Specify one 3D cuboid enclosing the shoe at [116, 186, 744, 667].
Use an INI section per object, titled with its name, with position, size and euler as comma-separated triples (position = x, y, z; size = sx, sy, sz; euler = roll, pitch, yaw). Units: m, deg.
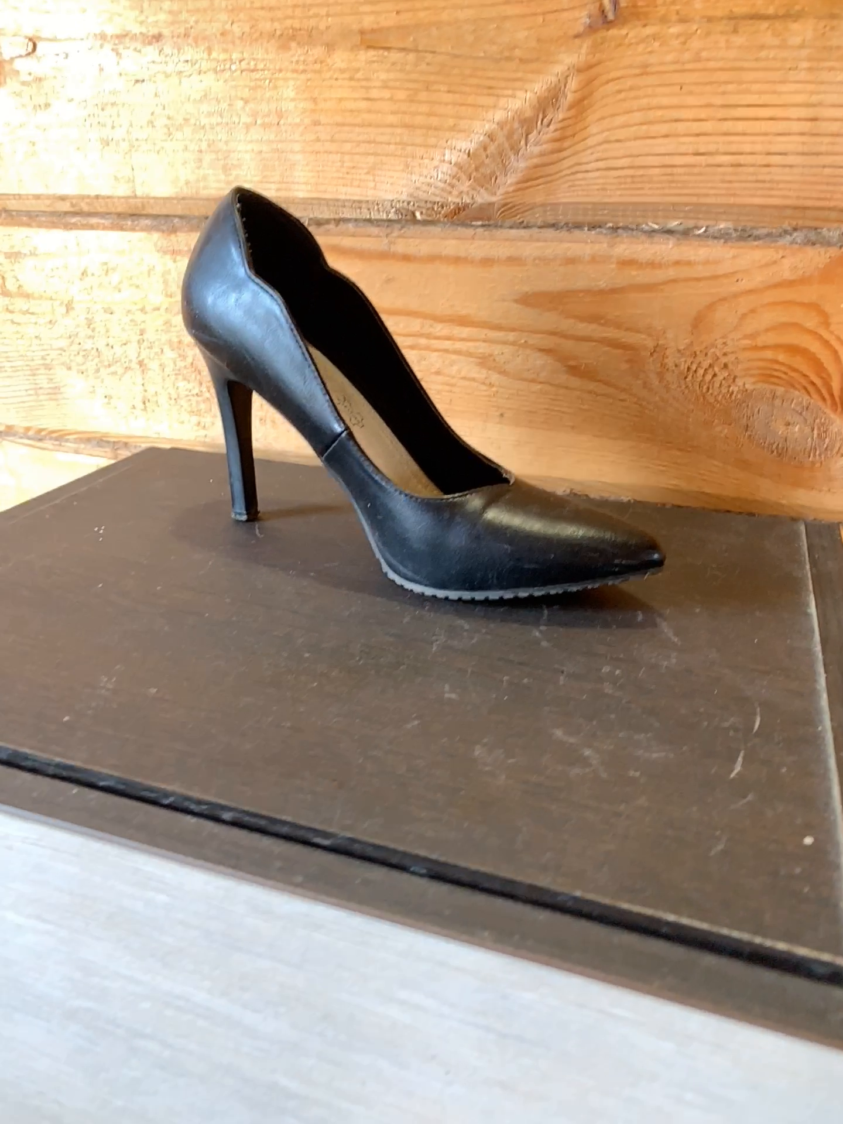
[shoe]
position = -0.002, -0.073, 0.359
size = 0.220, 0.149, 0.101
euler = 14, 25, 28
